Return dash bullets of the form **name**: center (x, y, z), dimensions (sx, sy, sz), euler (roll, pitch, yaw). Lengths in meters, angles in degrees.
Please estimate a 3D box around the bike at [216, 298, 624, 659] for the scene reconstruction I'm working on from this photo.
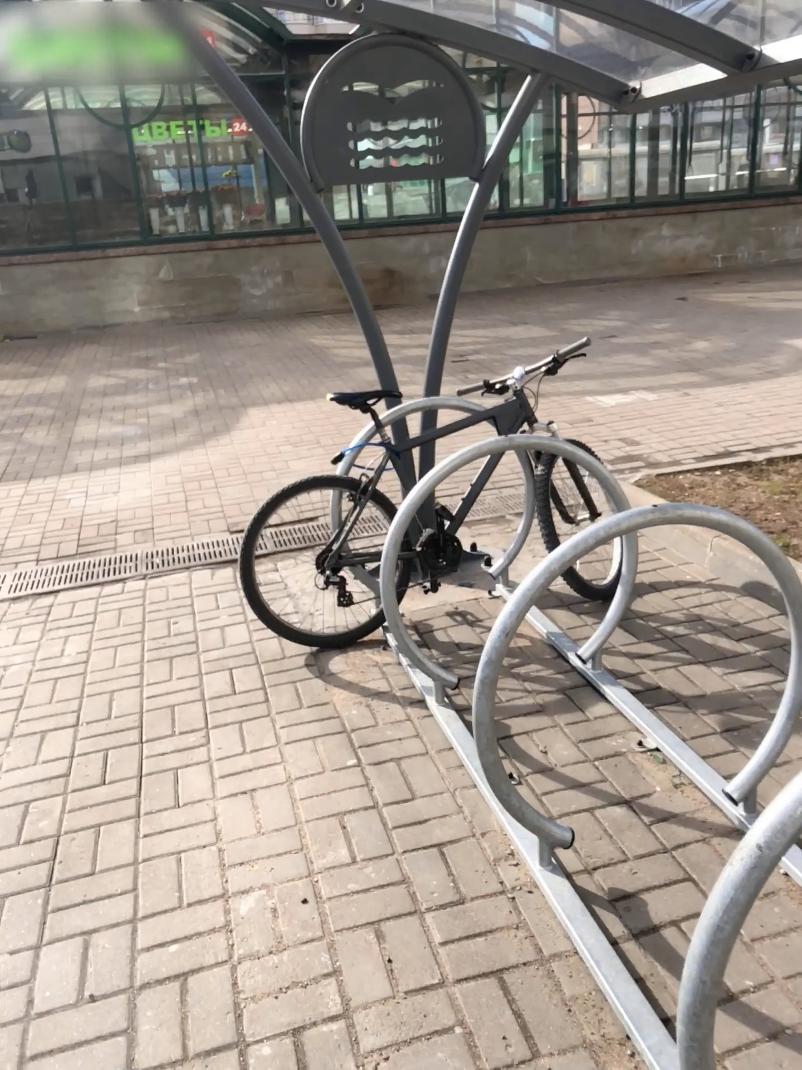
- **bike**: center (0.118, -0.309, 3.532), dimensions (1.612, 0.980, 0.563), euler (-14, 22, -21)
